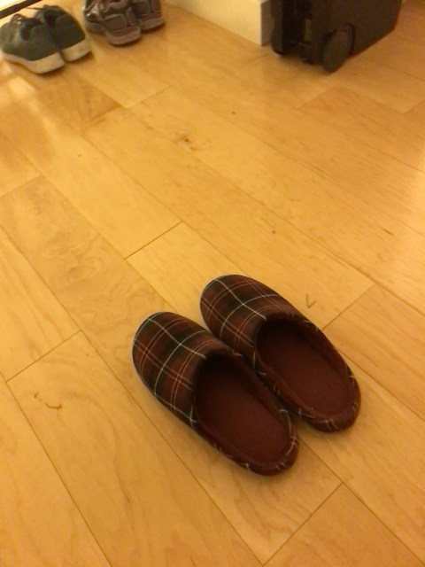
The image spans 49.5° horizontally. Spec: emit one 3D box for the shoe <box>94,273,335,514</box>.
[{"bbox_3d":[-0.007,0.118,0.563,0.120,0.070,0.281,-40,58,-21],"label":"shoe"}]

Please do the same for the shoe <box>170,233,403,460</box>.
[{"bbox_3d":[0.080,0.065,0.590,0.120,0.070,0.281,-34,56,-18],"label":"shoe"}]
